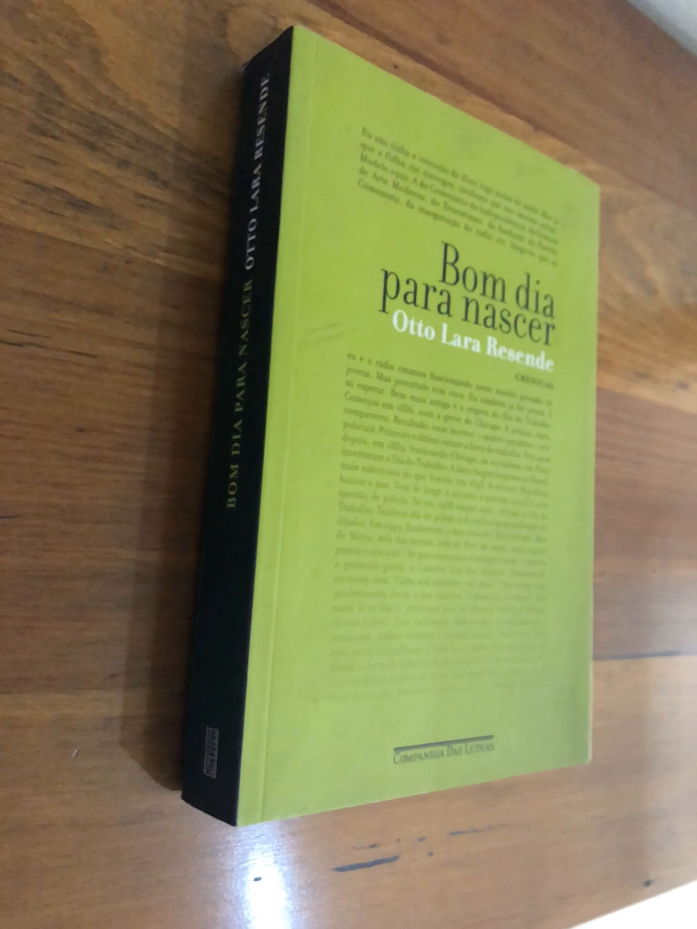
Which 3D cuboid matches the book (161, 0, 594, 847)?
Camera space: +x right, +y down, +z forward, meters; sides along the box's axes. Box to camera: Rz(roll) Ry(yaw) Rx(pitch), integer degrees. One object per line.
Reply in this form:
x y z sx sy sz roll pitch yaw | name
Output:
0.021 -0.010 0.239 0.137 0.030 0.208 8 80 -37 | book
